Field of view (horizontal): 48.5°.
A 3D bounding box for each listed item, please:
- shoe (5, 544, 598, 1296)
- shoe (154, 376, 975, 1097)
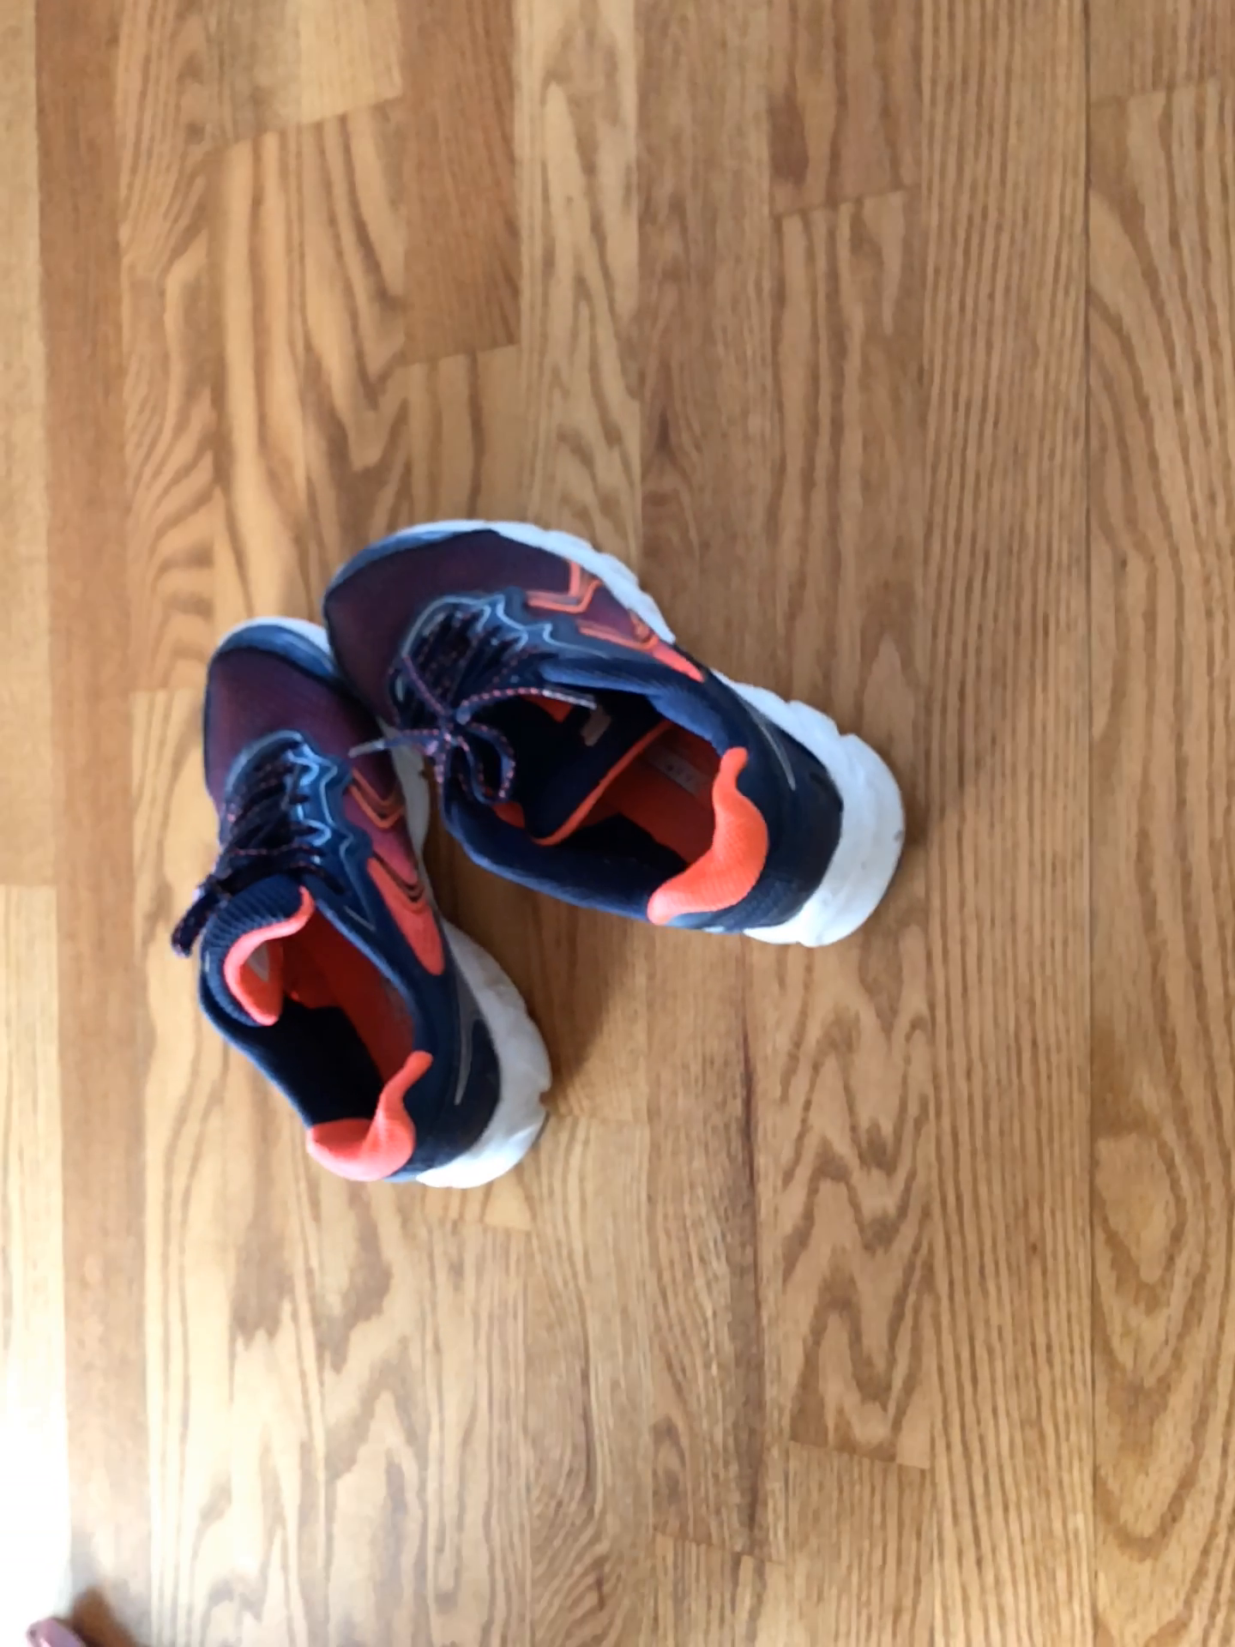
[{"bbox_3d":[-0.134,0.035,0.575,0.108,0.110,0.270,-32,76,24],"label":"shoe"},{"bbox_3d":[-0.026,-0.040,0.517,0.278,0.110,0.116,38,107,23],"label":"shoe"}]
